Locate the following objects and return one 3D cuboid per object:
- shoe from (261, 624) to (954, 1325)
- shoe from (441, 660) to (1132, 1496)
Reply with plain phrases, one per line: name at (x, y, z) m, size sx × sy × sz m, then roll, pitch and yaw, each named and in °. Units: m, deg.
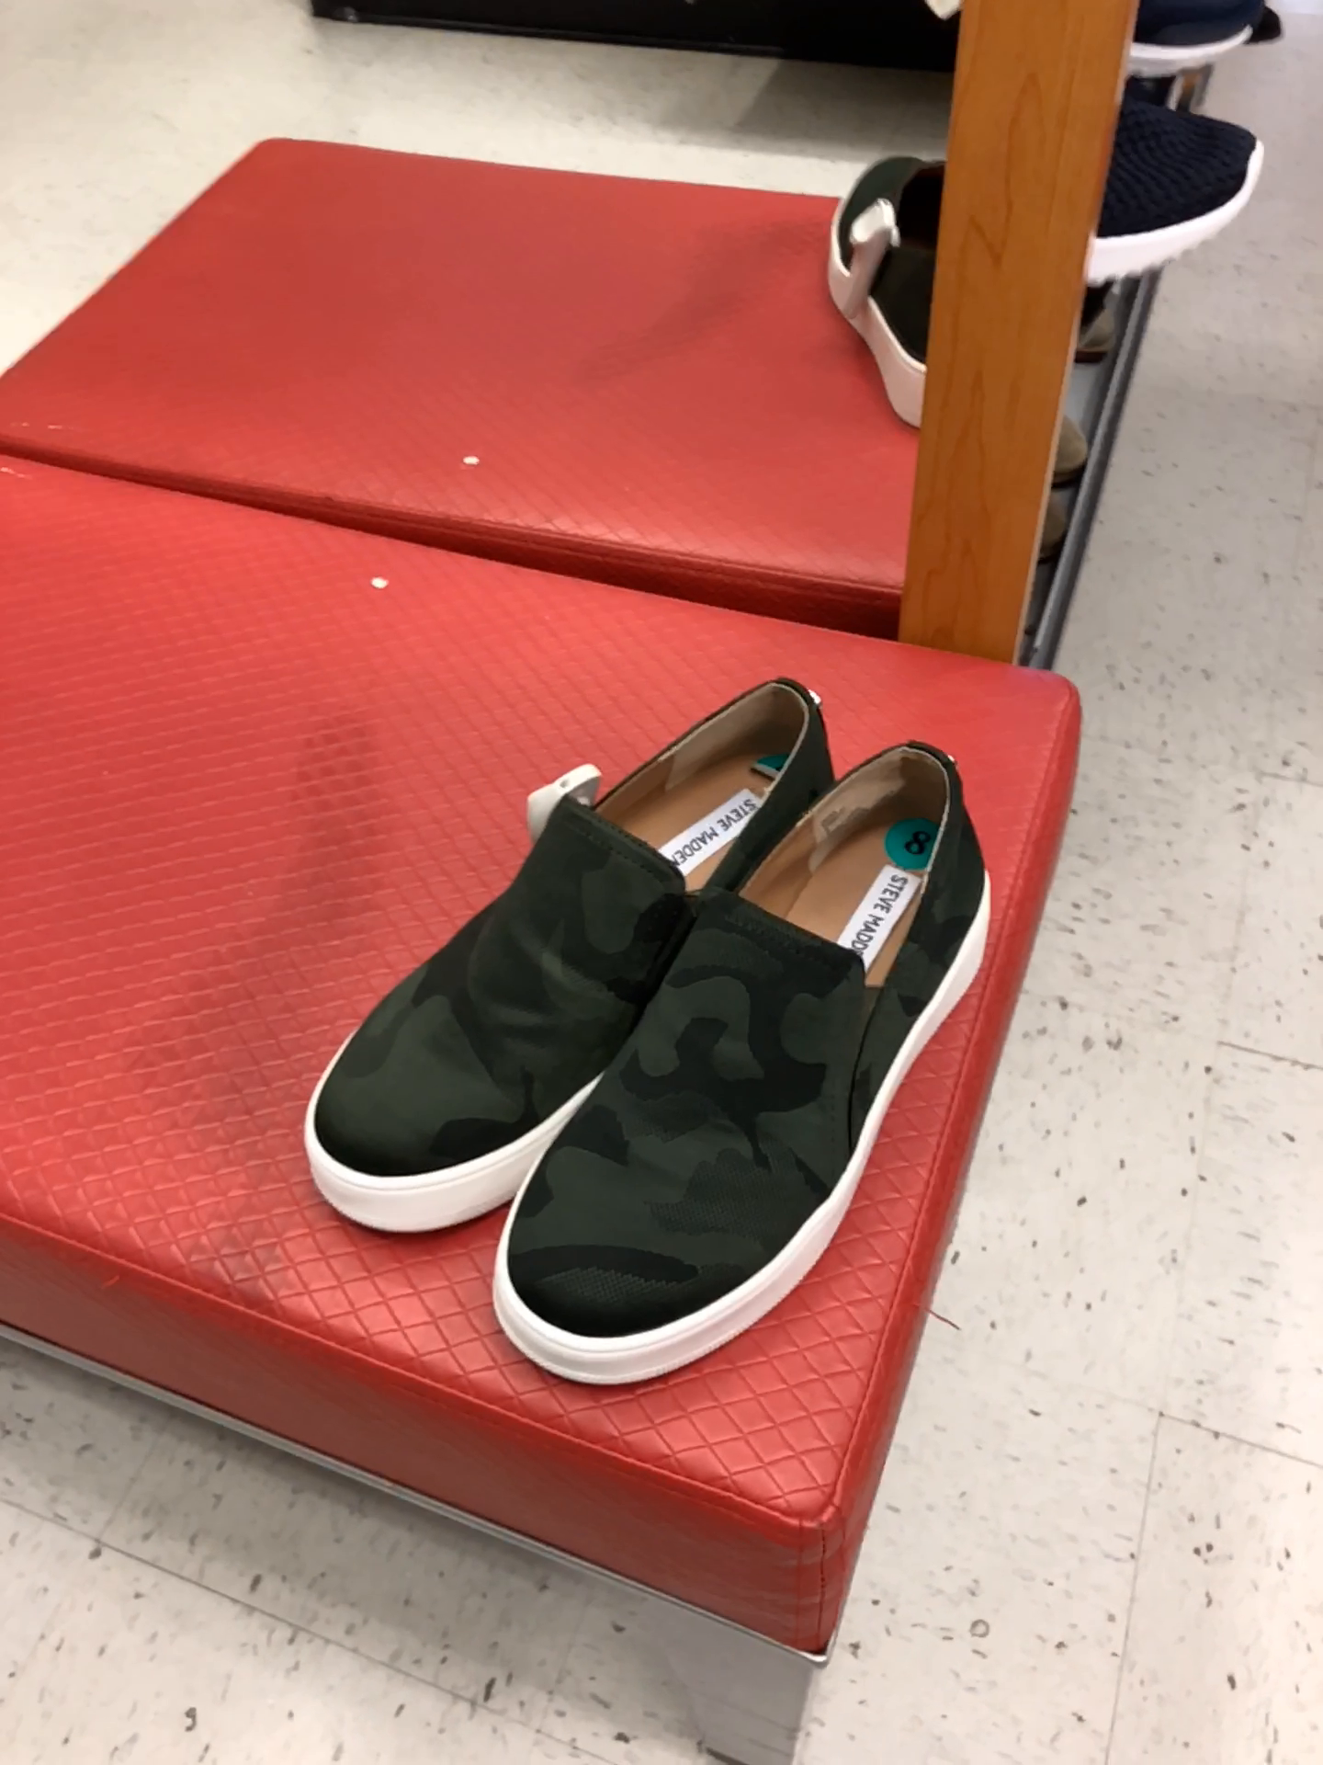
shoe at (-0.006, 0.022, 0.545) m, size 0.077 × 0.086 × 0.276 m, roll 32°, pitch 58°, yaw 28°
shoe at (0.056, 0.051, 0.513) m, size 0.106 × 0.086 × 0.276 m, roll 24°, pitch 55°, yaw 23°
